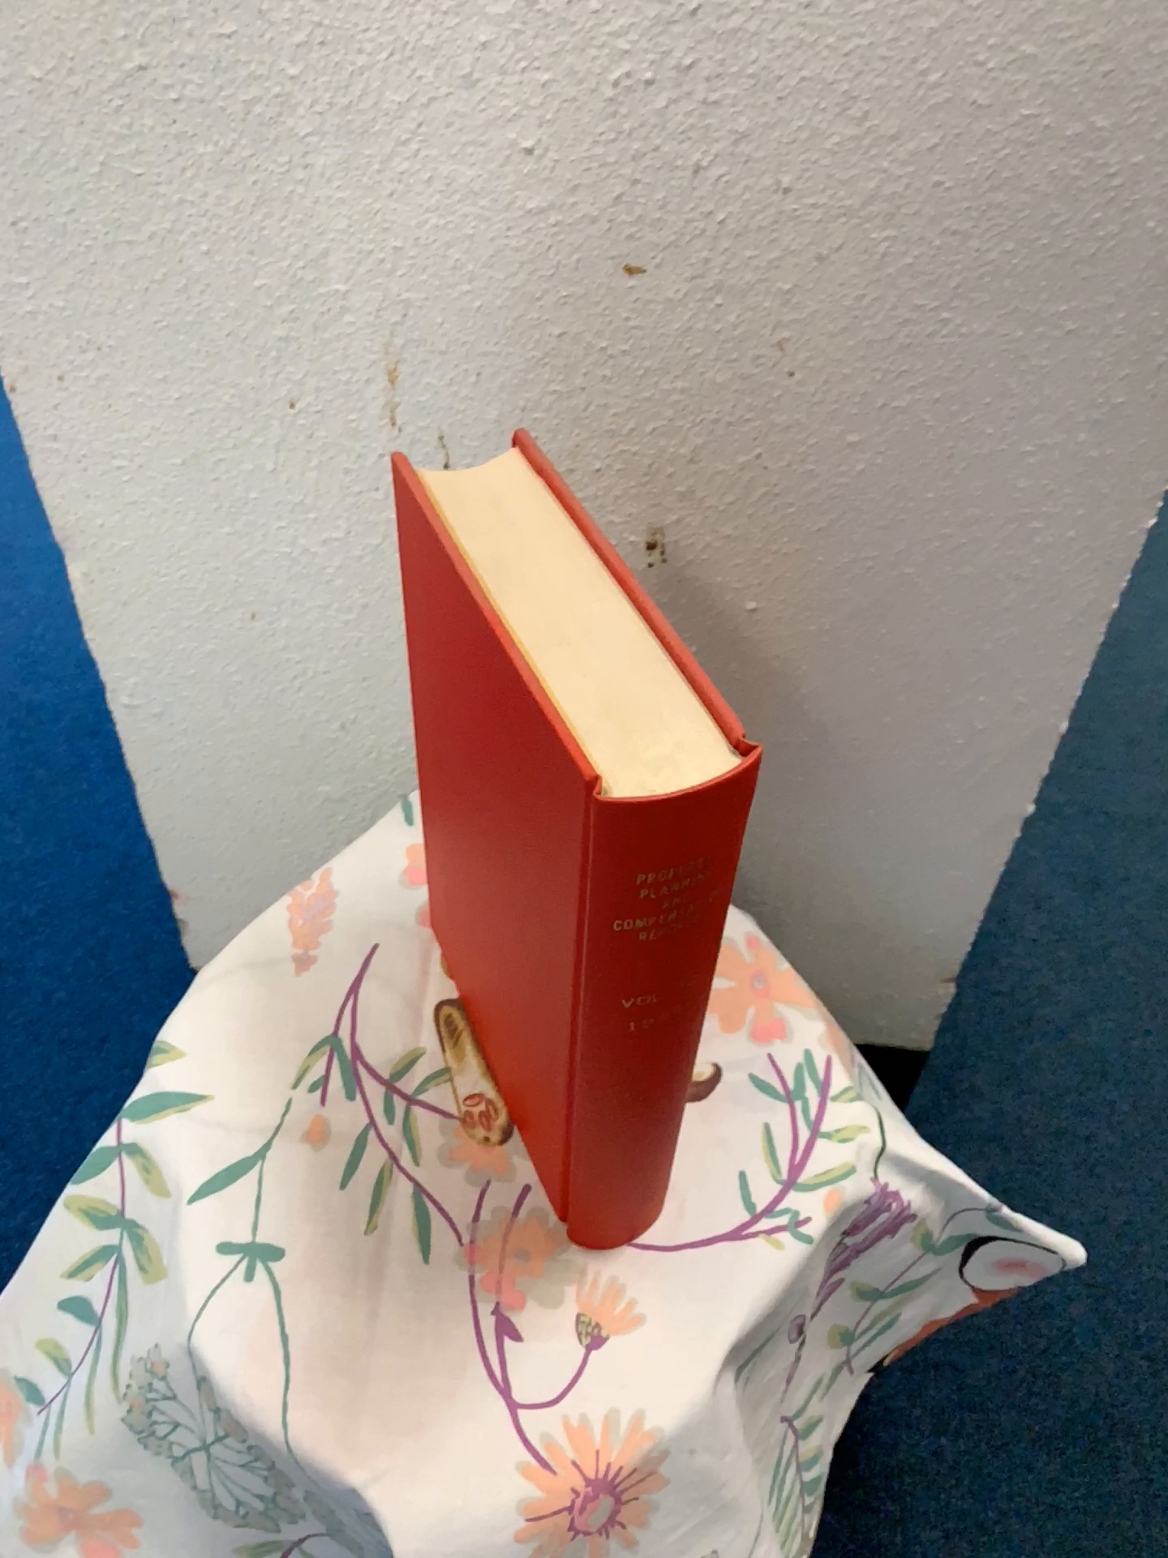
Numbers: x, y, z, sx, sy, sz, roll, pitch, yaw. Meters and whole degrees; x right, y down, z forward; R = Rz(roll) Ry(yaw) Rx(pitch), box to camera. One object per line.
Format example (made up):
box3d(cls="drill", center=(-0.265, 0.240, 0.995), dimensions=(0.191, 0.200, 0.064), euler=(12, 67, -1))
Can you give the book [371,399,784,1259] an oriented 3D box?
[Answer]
box3d(cls="book", center=(-0.012, 0.027, 0.413), dimensions=(0.050, 0.245, 0.169), euler=(-16, 48, -16))
